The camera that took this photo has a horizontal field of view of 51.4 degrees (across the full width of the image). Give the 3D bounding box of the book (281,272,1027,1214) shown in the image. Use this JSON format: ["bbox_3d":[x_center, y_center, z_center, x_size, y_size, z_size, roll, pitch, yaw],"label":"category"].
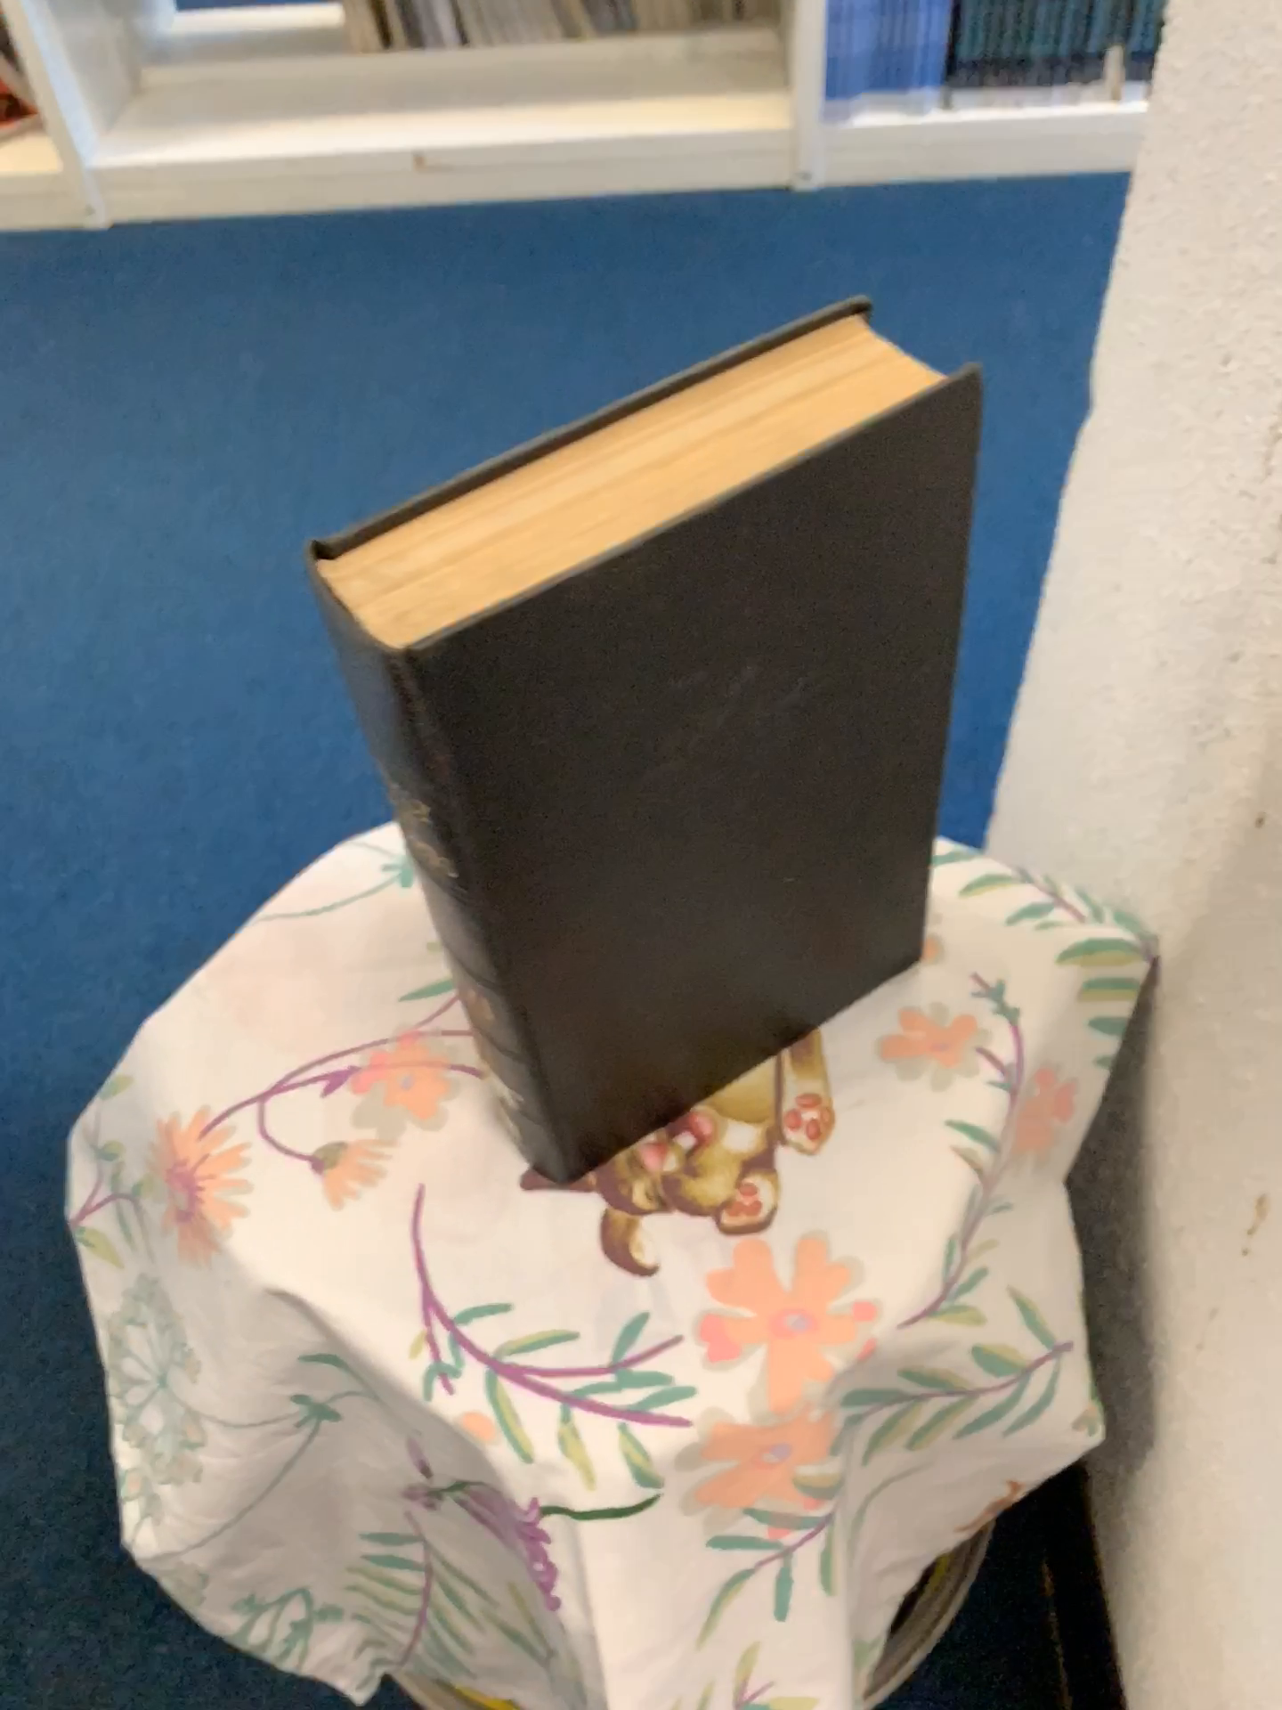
[{"bbox_3d":[0.013,-0.013,0.384,0.162,0.244,0.052,-30,55,-19],"label":"book"}]
